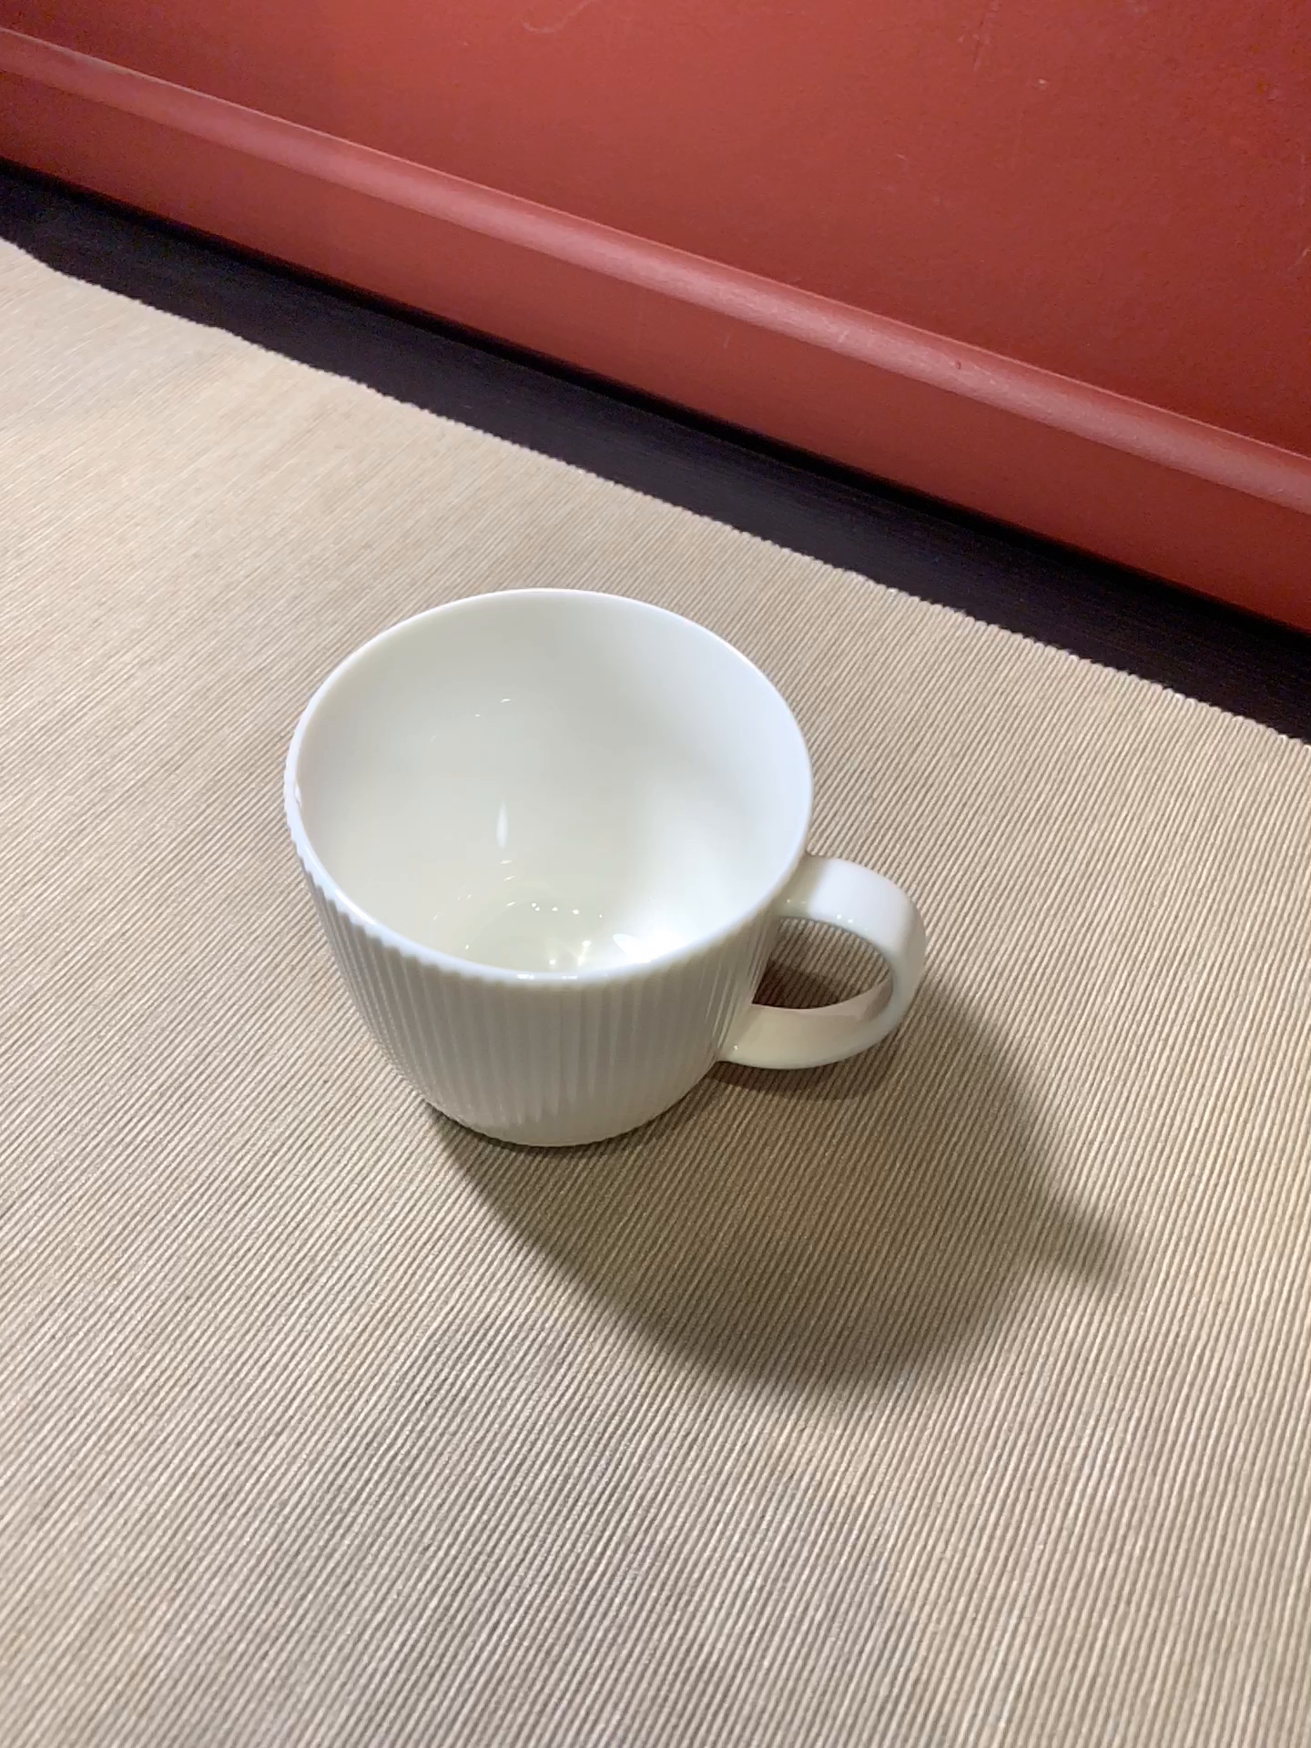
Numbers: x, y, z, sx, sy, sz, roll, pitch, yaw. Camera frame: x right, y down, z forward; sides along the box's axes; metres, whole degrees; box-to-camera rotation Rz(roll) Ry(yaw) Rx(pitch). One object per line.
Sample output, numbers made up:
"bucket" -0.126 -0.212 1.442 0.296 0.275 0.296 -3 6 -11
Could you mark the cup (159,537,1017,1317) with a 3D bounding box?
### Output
"cup" -0.008 0.005 0.241 0.110 0.060 0.090 20 52 13
